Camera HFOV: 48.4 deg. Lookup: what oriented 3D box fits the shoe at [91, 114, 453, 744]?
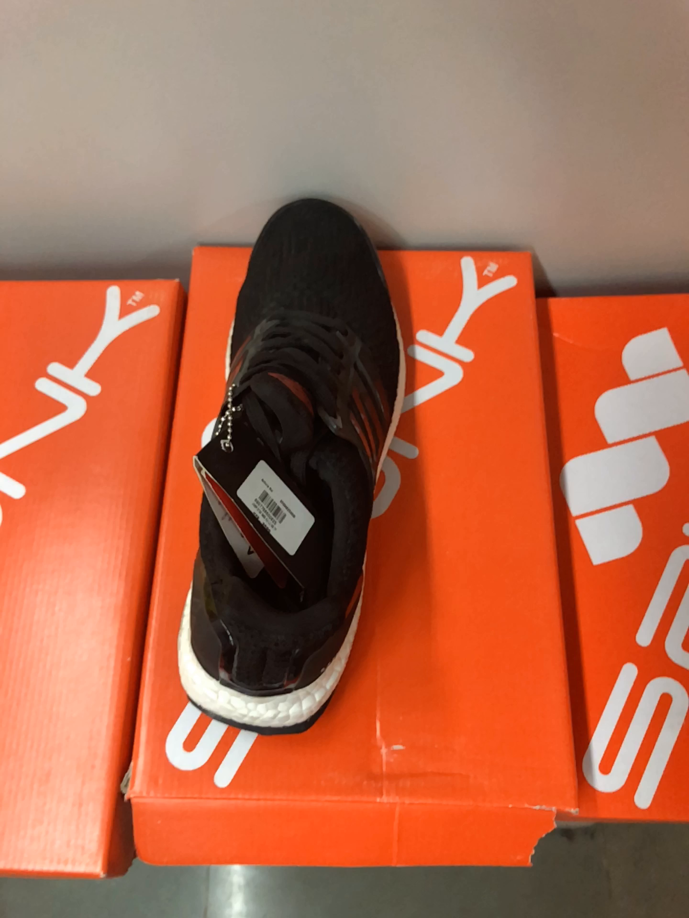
[{"bbox_3d":[-0.022,-0.014,0.394,0.117,0.120,0.290,7,69,1],"label":"shoe"}]
